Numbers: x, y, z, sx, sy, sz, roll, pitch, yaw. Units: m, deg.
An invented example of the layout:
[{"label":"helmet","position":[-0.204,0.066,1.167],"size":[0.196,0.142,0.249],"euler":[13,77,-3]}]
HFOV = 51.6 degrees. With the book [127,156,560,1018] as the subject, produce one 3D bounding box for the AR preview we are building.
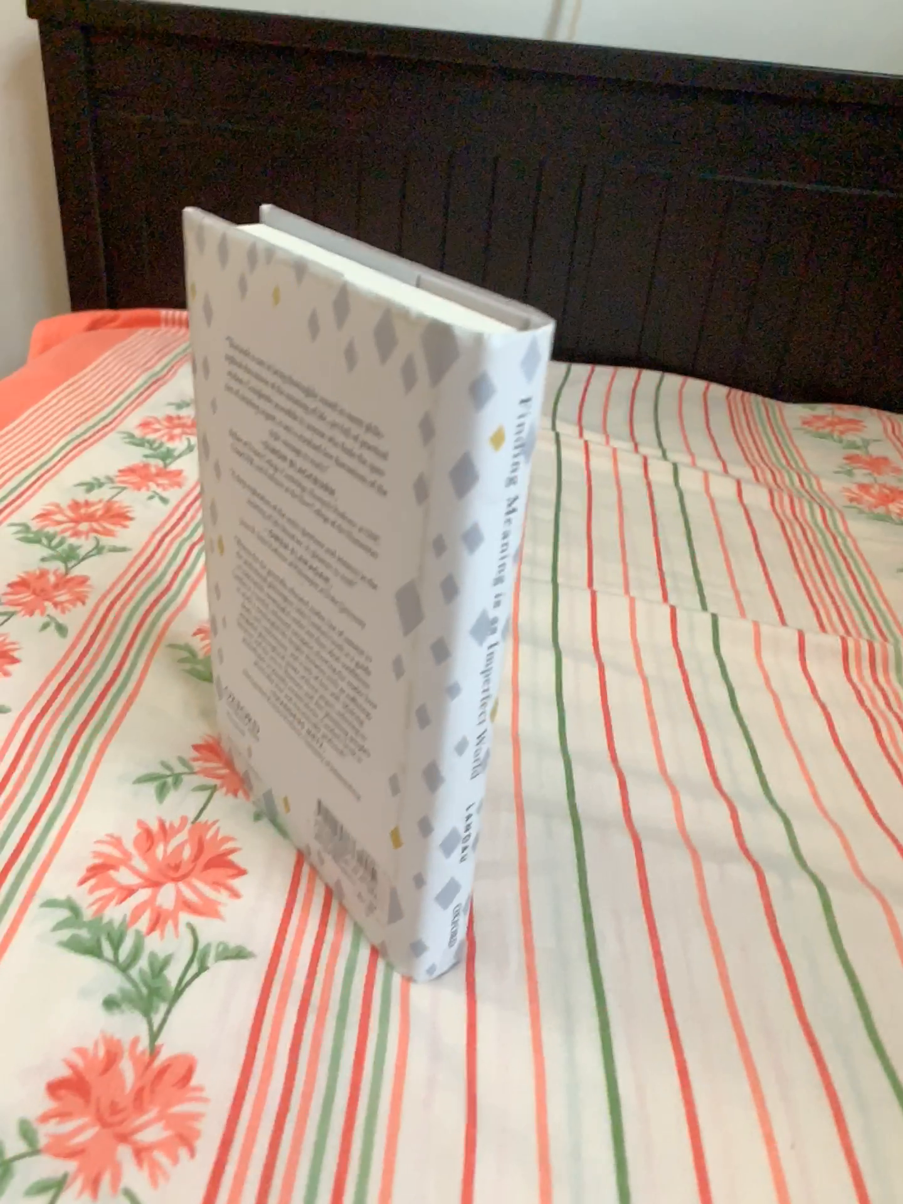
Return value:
[{"label":"book","position":[-0.046,-0.008,0.290],"size":[0.030,0.218,0.161],"euler":[-17,37,-33]}]
